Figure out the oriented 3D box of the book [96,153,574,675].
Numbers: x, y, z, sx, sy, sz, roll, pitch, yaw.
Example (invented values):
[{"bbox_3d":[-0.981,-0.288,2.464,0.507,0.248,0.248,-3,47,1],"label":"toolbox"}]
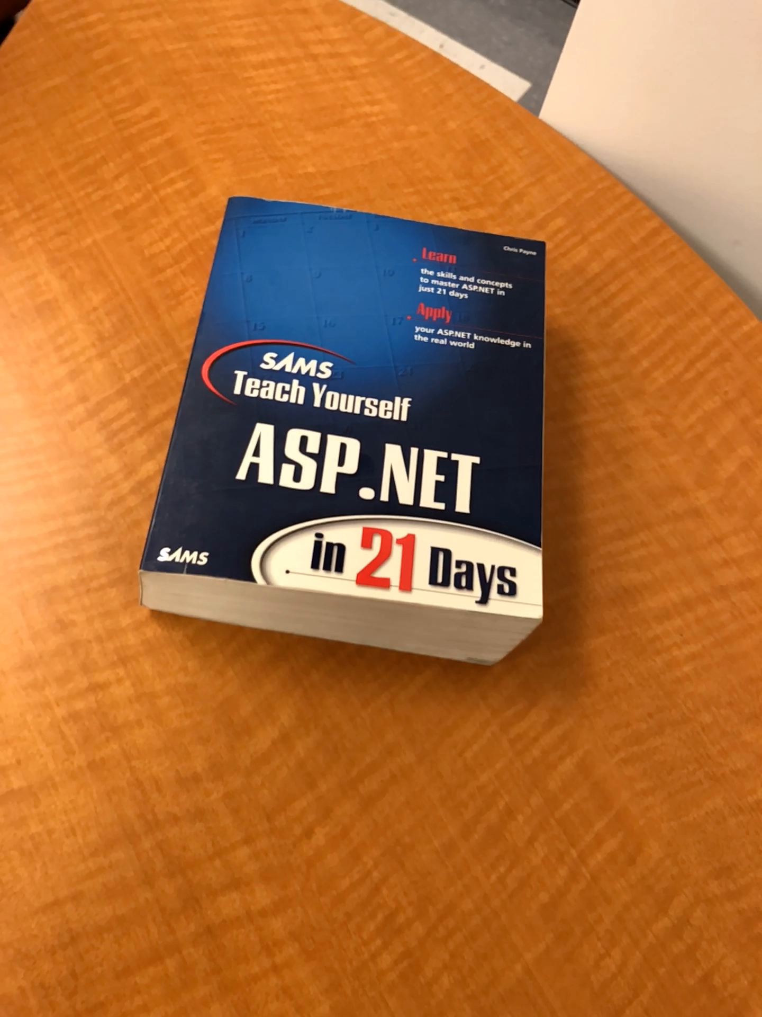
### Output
[{"bbox_3d":[-0.011,-0.055,0.447,0.200,0.070,0.241,11,64,-4],"label":"book"}]
